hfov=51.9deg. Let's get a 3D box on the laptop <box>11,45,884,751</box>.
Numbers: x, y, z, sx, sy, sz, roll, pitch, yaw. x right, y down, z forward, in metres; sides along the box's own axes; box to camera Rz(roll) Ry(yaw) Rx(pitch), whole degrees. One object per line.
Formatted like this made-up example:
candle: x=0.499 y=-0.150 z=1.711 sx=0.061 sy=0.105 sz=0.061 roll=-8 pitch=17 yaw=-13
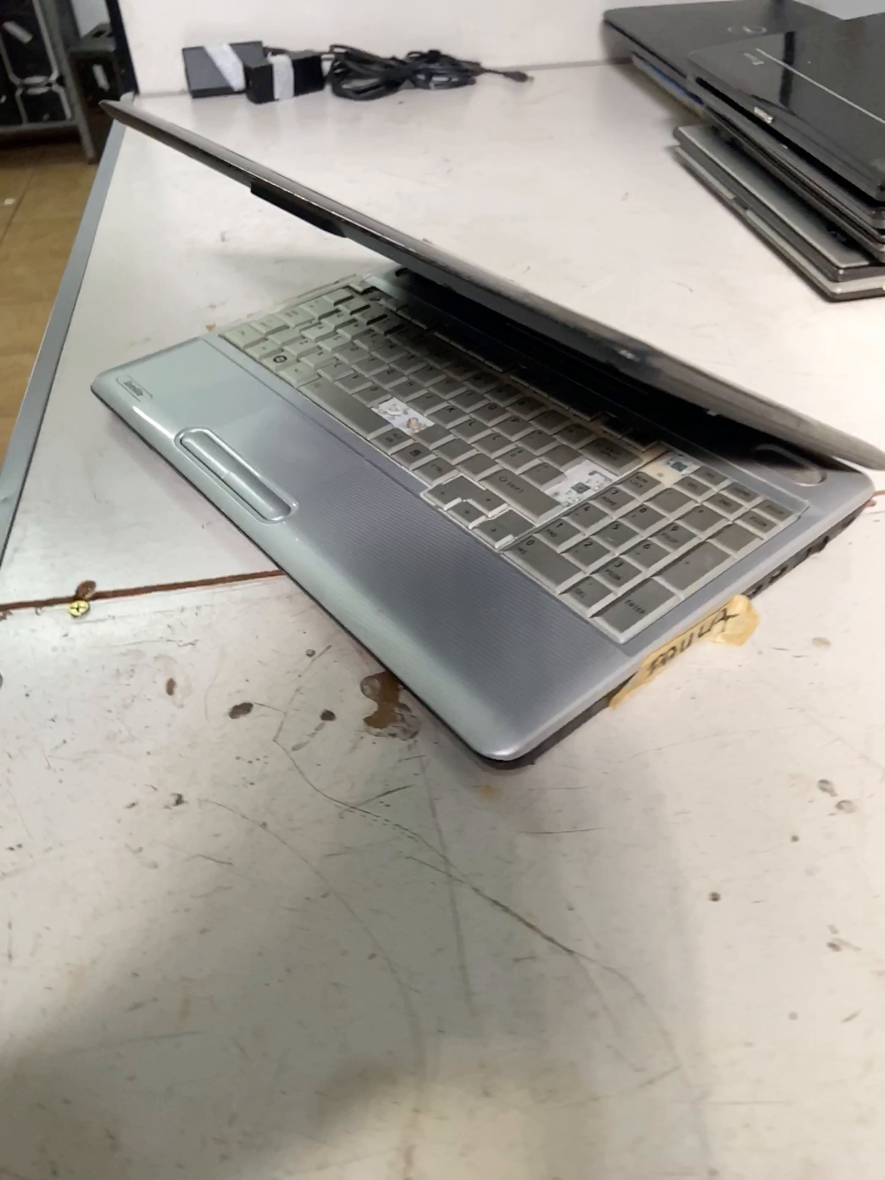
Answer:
laptop: x=-0.003 y=-0.143 z=0.471 sx=0.256 sy=0.143 sz=0.373 roll=-31 pitch=50 yaw=-26
